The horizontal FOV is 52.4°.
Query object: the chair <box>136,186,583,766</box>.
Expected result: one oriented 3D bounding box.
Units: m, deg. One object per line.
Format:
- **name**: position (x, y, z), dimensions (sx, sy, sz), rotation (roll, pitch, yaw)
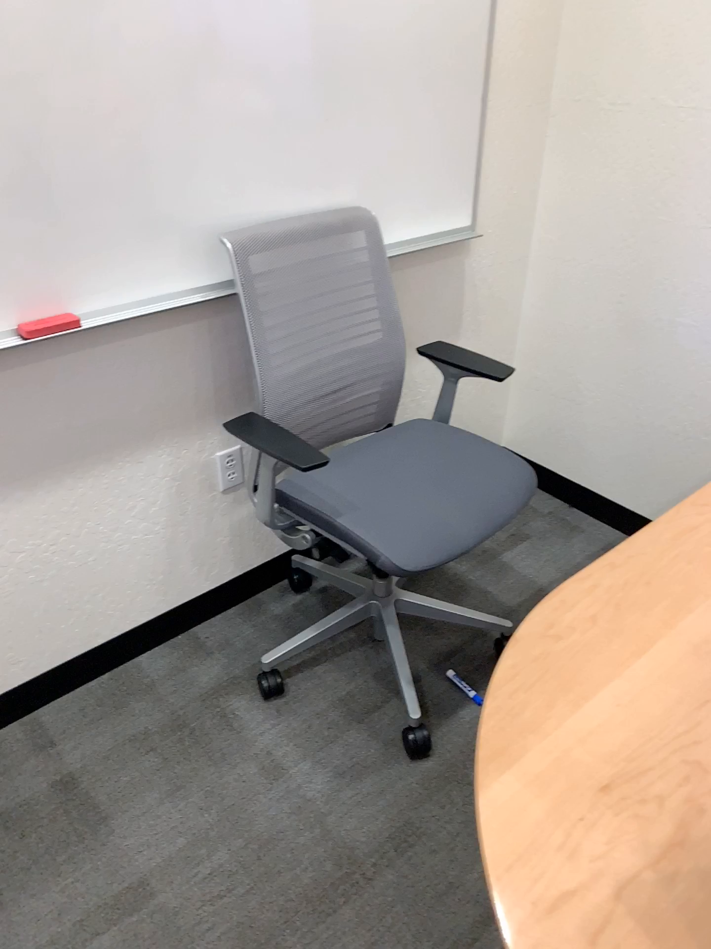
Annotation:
- **chair**: position (0.000, -0.056, 2.042), dimensions (0.762, 1.262, 0.753), rotation (-25, 39, -38)
